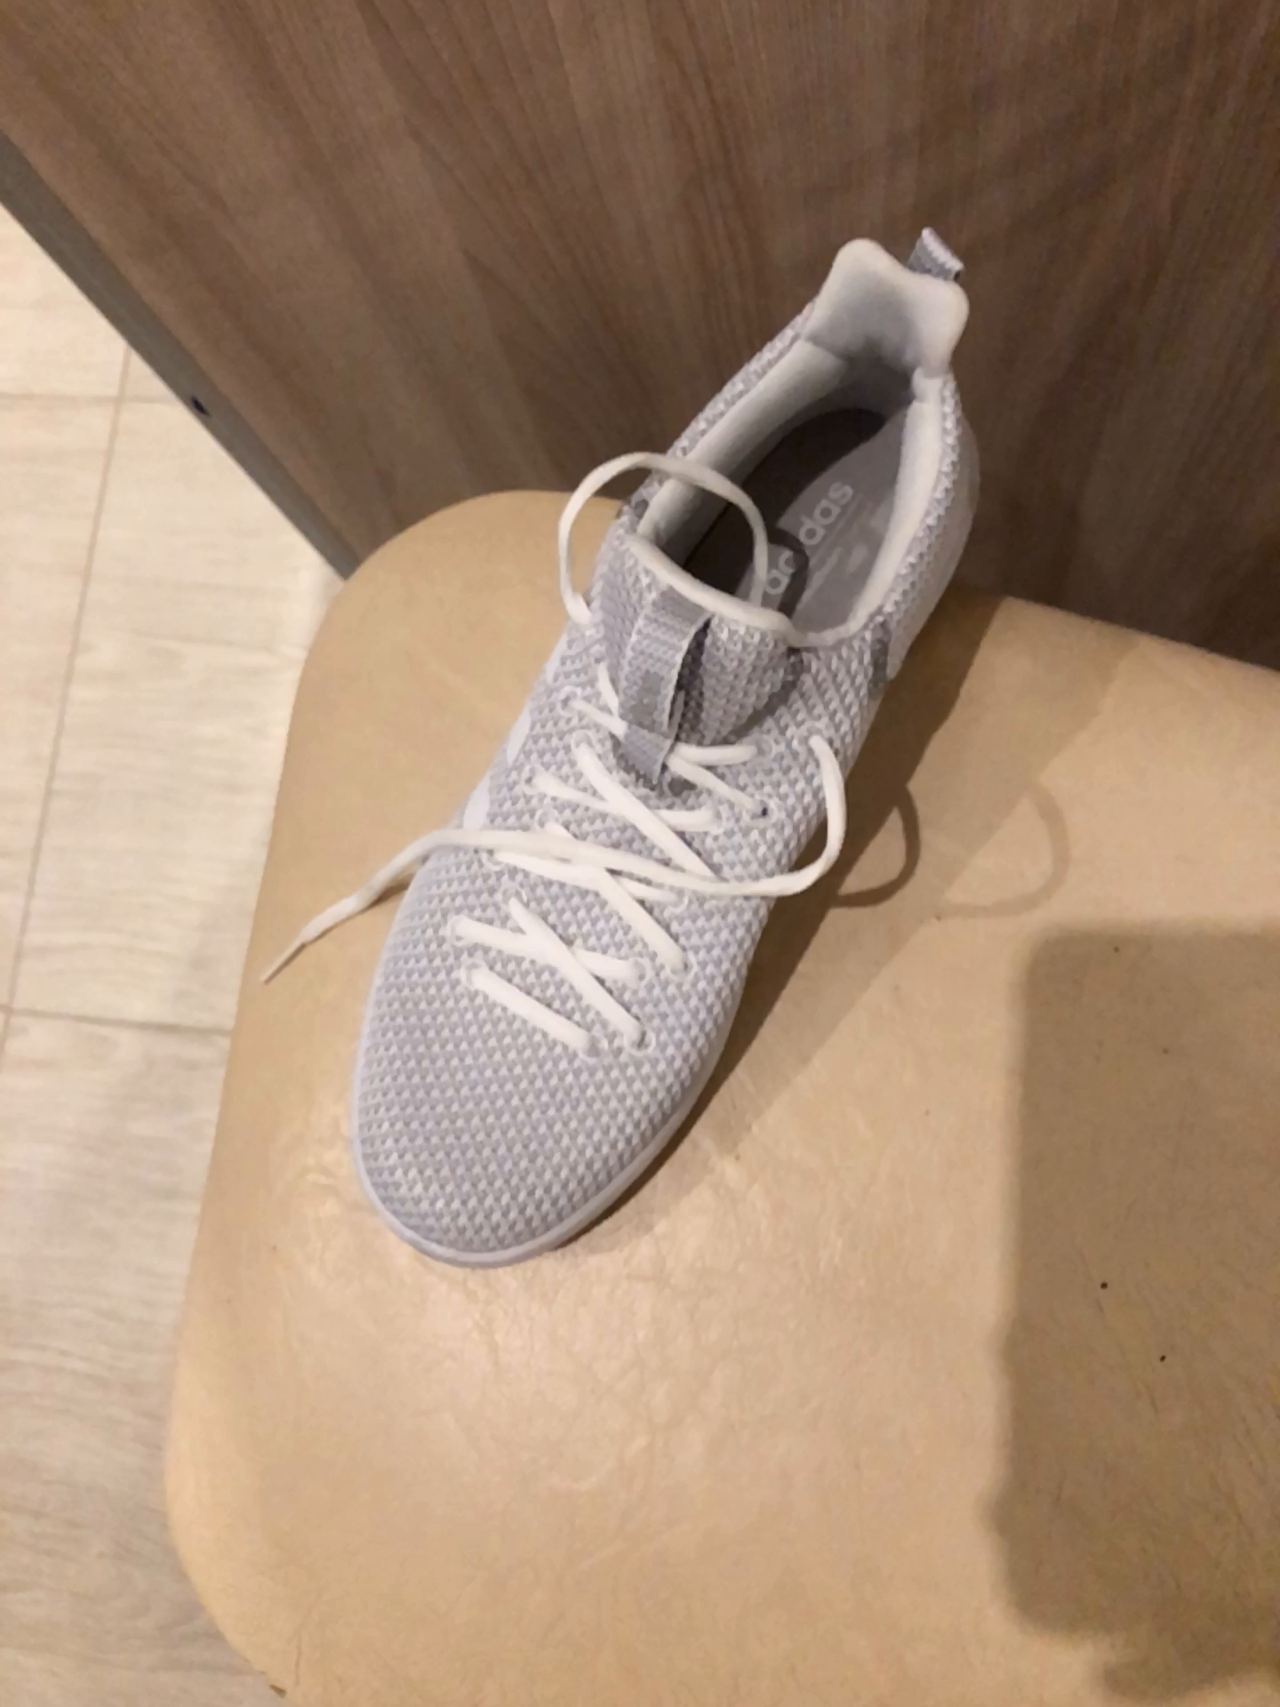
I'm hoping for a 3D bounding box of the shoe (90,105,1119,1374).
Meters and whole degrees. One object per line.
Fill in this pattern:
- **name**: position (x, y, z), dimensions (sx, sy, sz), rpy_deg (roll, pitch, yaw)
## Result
- **shoe**: position (0.001, -0.027, 0.403), dimensions (0.110, 0.130, 0.300), rpy_deg (30, 84, 13)
